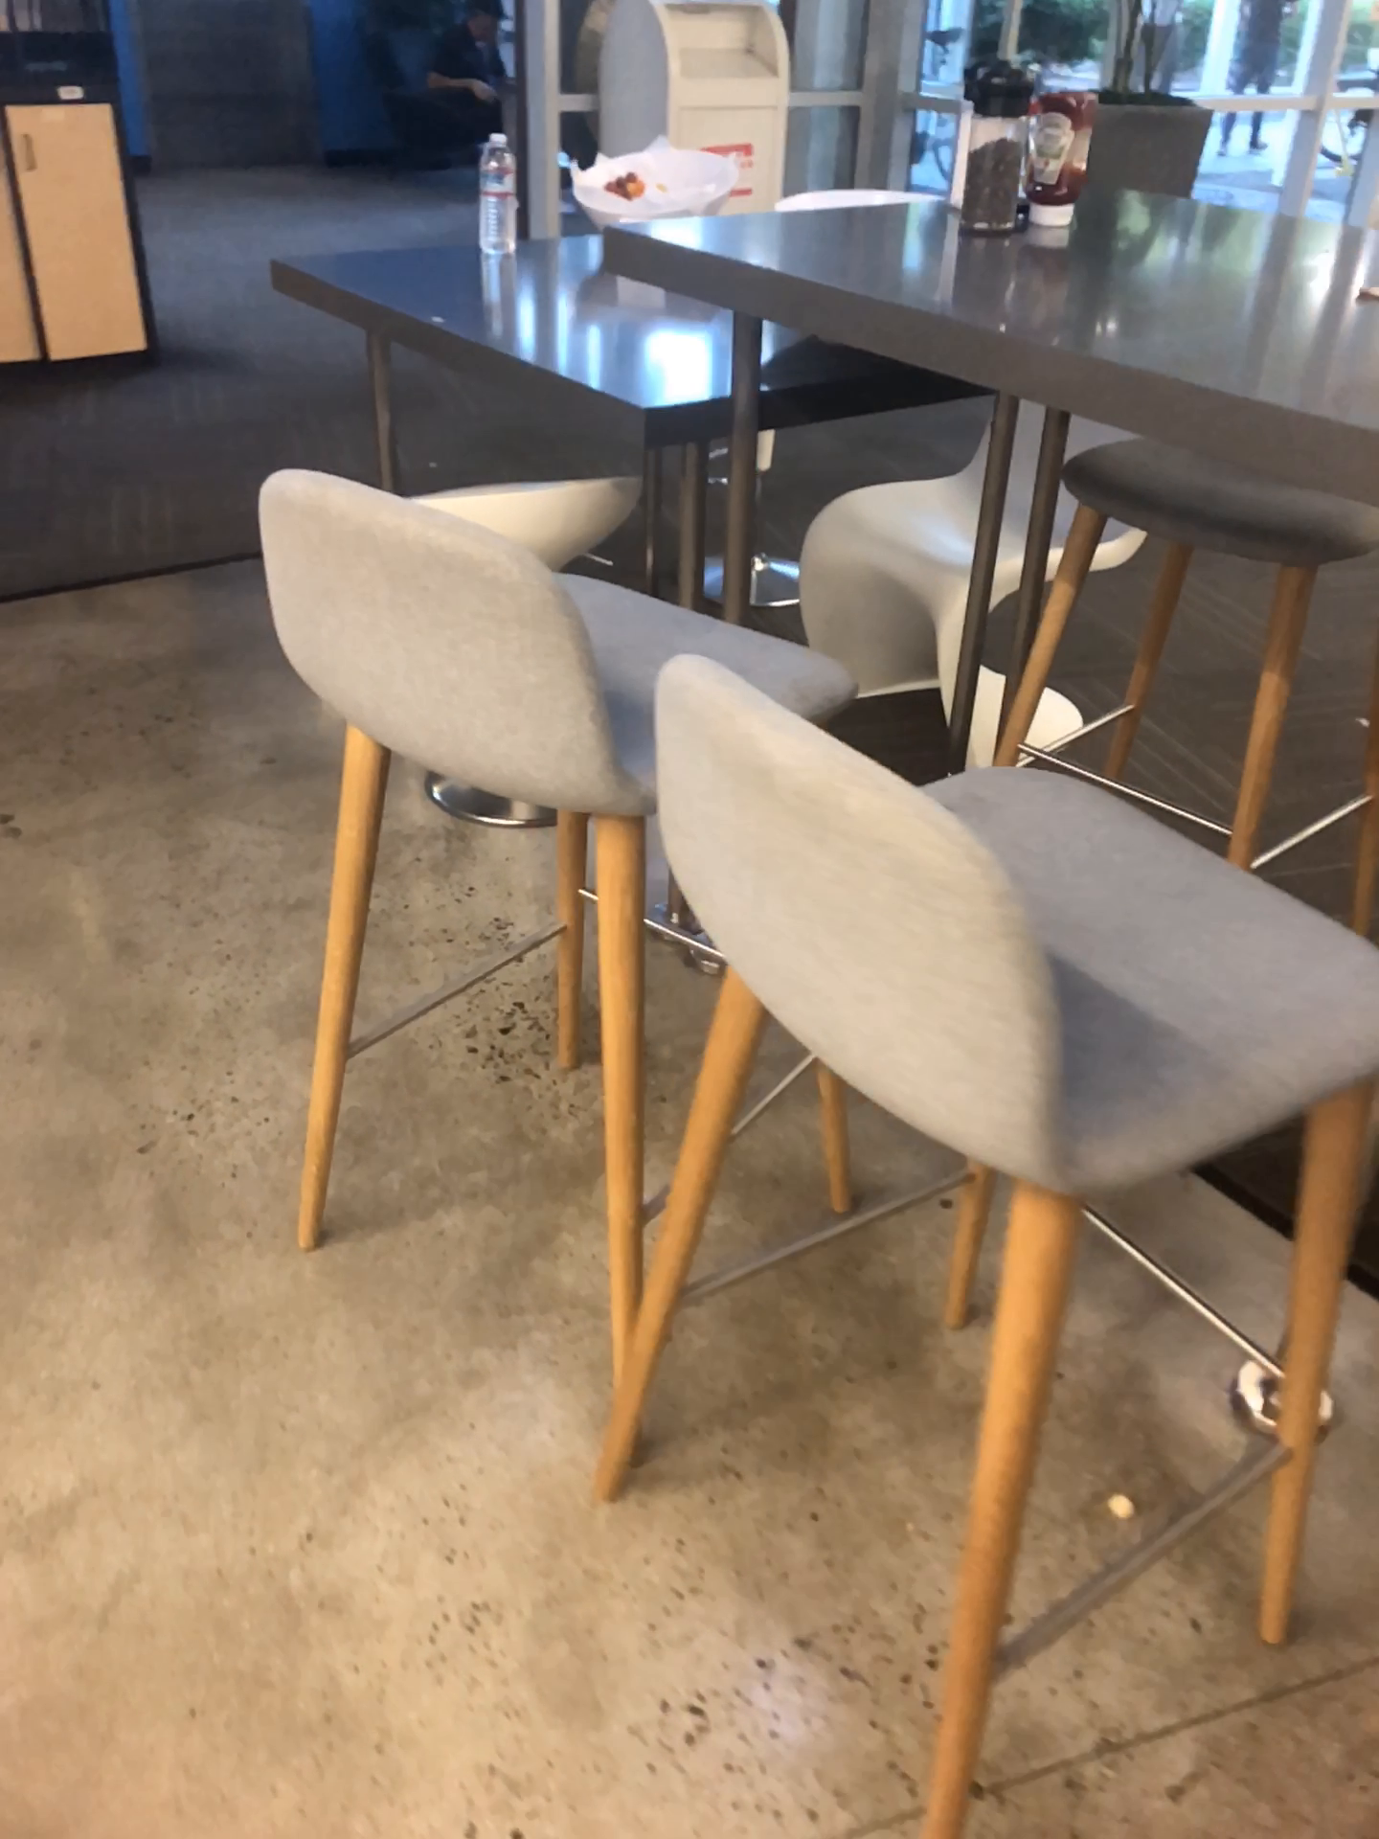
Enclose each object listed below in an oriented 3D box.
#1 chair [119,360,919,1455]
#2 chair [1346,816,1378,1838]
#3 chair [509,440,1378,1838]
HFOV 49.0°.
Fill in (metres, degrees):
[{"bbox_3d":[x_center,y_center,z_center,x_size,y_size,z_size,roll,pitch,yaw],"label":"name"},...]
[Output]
[{"bbox_3d":[-0.124,-0.045,1.554,0.490,0.893,0.514,18,35,31],"label":"chair"},{"bbox_3d":[0.786,0.563,0.706,0.501,0.982,0.544,26,39,33],"label":"chair"},{"bbox_3d":[0.253,0.202,1.195,0.543,0.982,0.501,-20,34,-32],"label":"chair"}]
